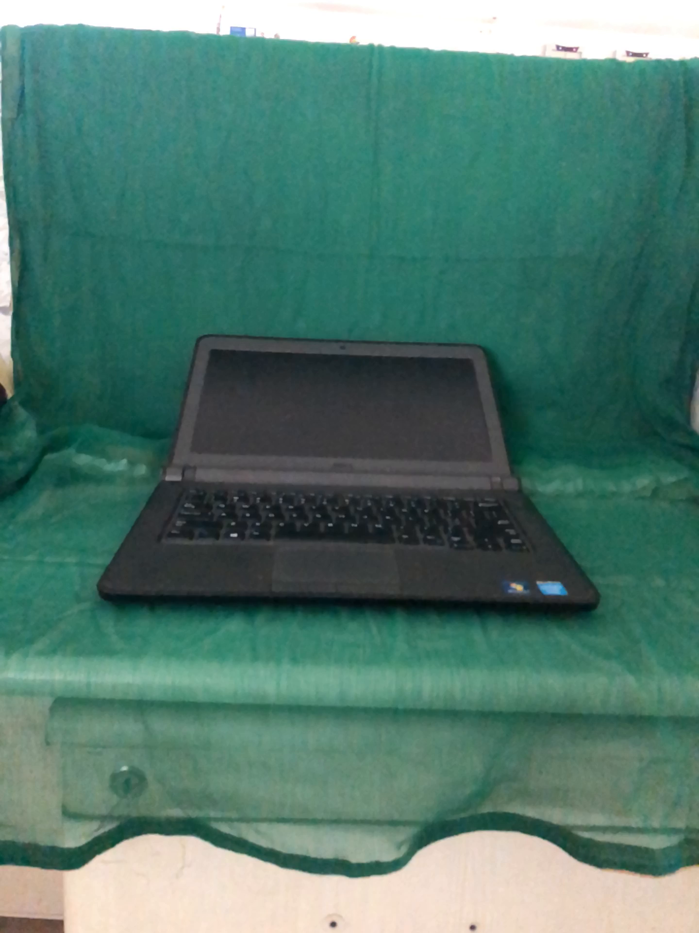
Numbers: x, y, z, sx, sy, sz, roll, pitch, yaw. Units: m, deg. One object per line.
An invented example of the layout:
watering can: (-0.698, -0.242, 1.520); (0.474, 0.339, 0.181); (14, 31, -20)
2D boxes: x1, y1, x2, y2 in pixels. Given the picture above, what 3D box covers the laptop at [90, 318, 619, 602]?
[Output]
laptop: (-0.002, -0.039, 0.658); (0.311, 0.096, 0.422); (2, 20, -2)
